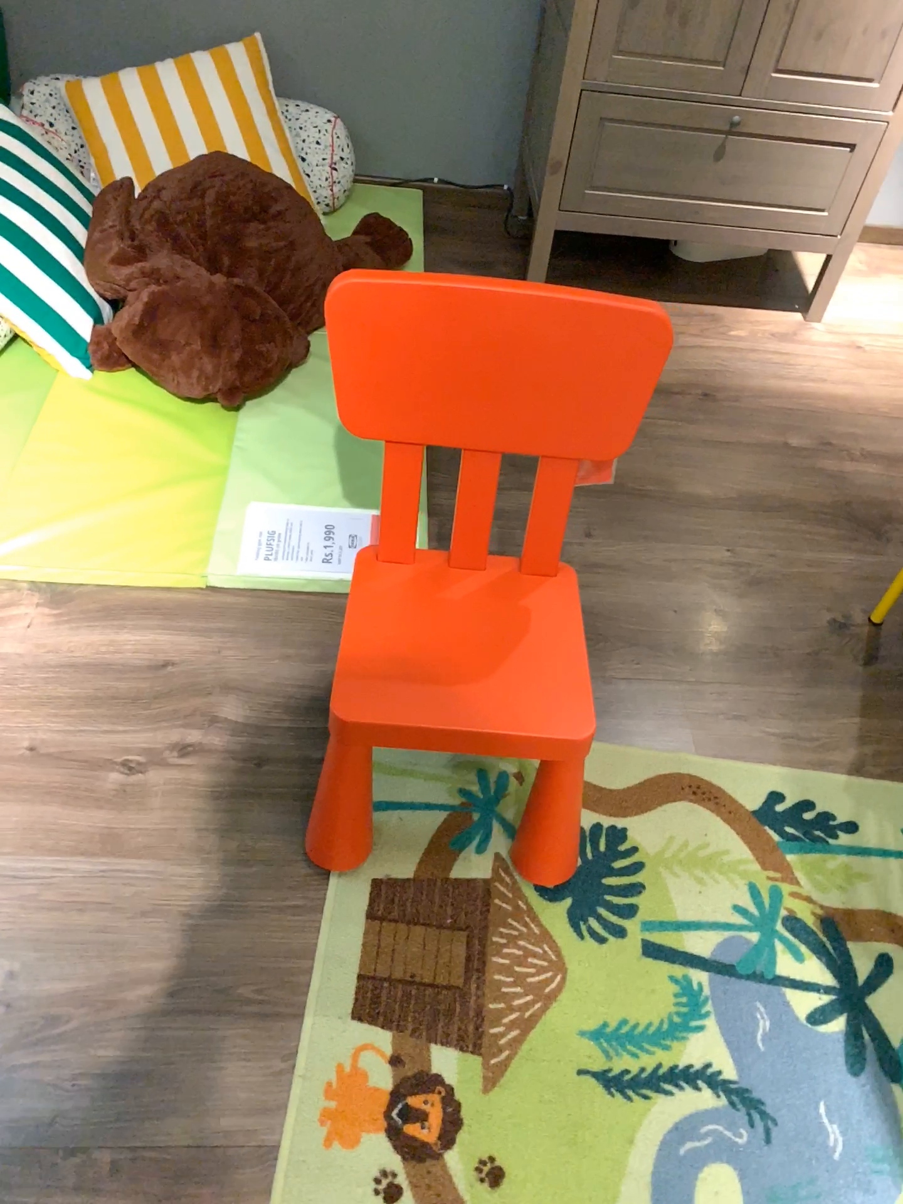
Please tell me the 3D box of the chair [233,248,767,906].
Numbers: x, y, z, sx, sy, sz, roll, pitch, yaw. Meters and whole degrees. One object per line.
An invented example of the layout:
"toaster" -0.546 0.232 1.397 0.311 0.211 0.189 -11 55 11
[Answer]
"chair" 0.014 -0.008 1.118 0.430 0.598 0.492 4 46 -4
